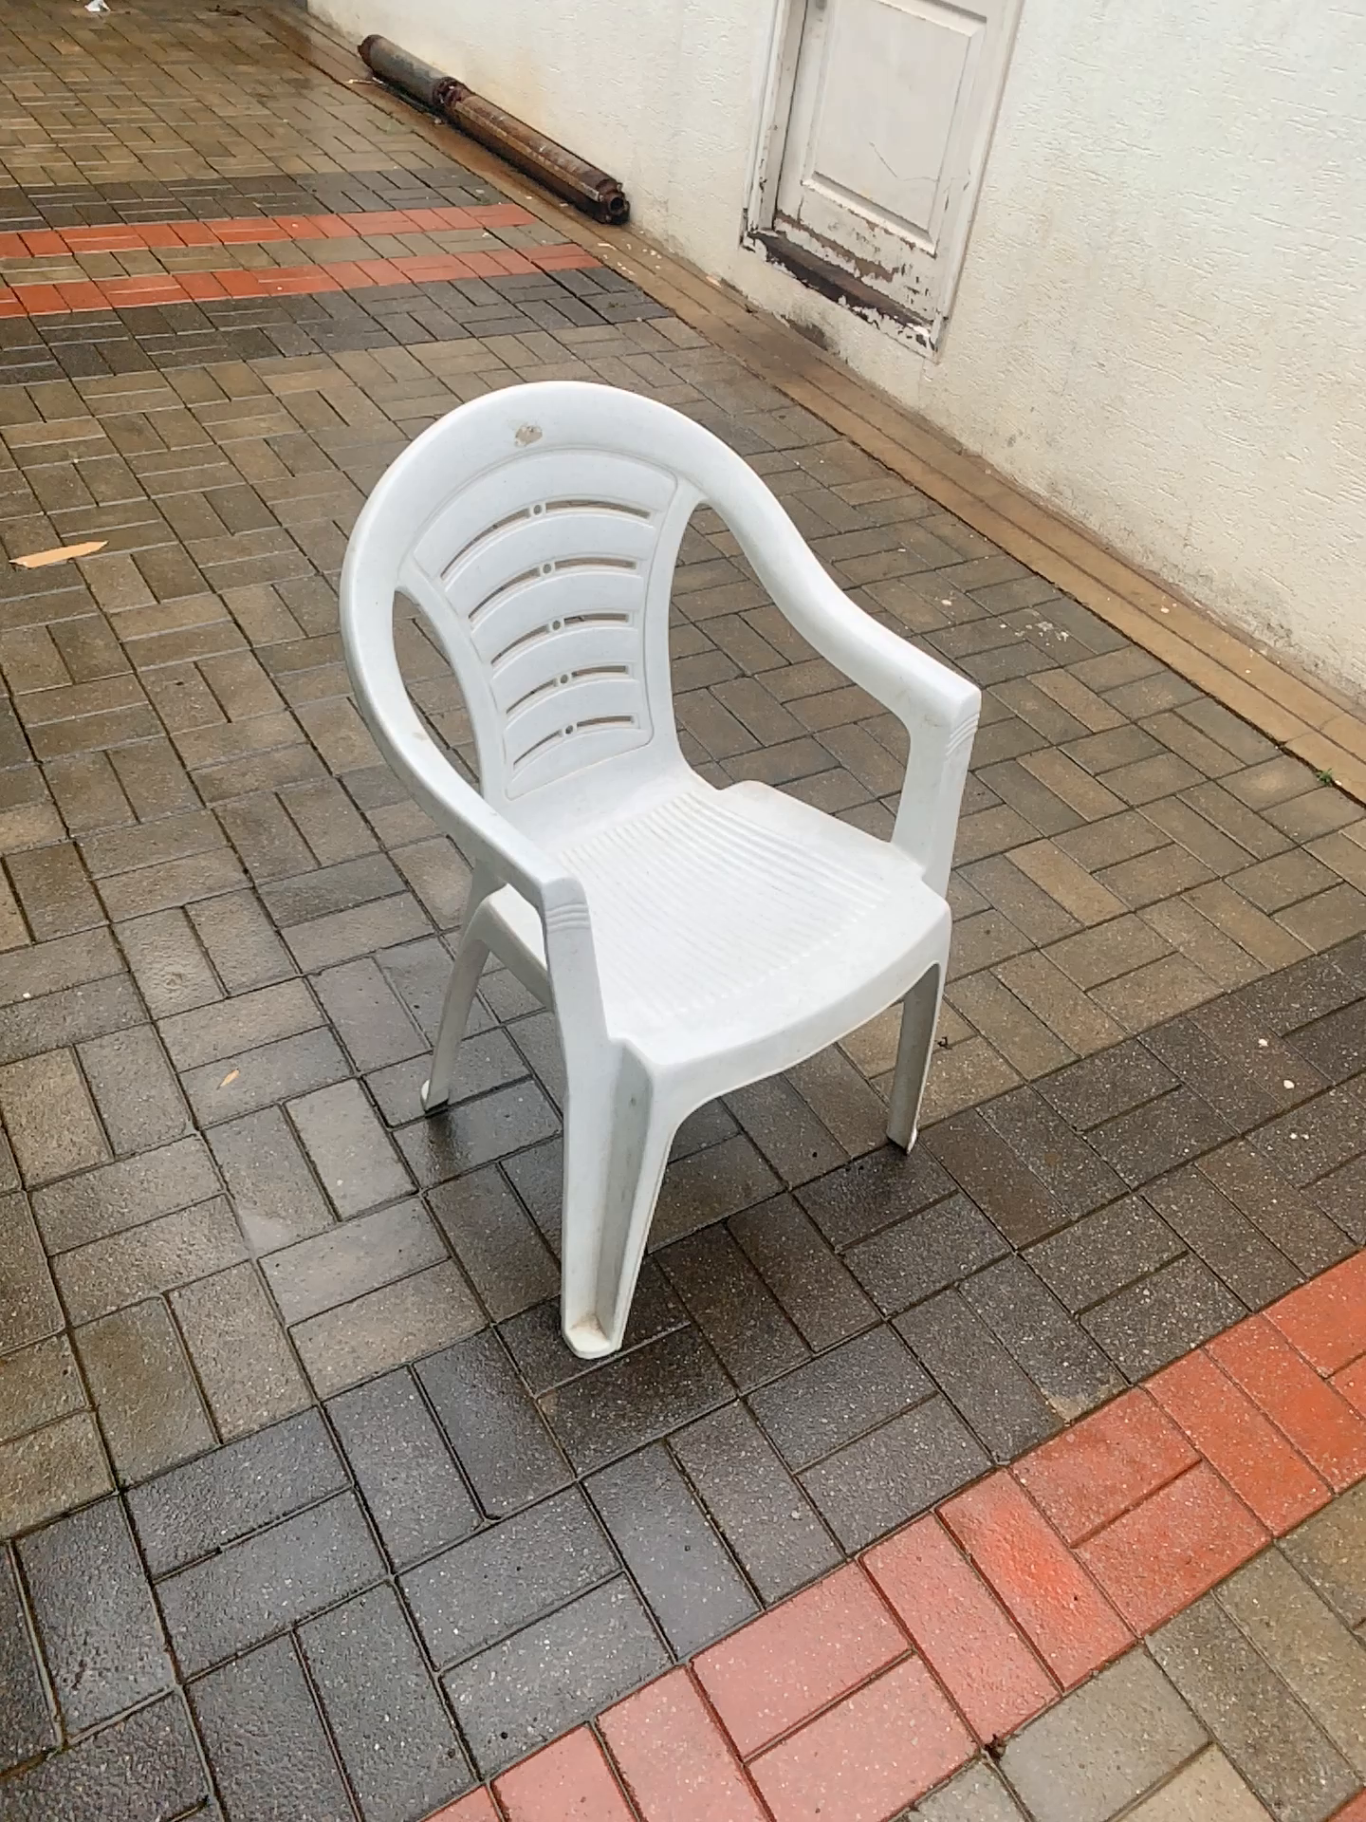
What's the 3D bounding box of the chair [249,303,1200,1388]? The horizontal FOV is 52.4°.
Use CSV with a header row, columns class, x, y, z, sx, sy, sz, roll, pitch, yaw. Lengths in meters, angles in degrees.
class,x,y,z,sx,sy,sz,roll,pitch,yaw
chair,-0.008,-0.085,1.408,0.561,0.777,0.571,-27,52,-34
